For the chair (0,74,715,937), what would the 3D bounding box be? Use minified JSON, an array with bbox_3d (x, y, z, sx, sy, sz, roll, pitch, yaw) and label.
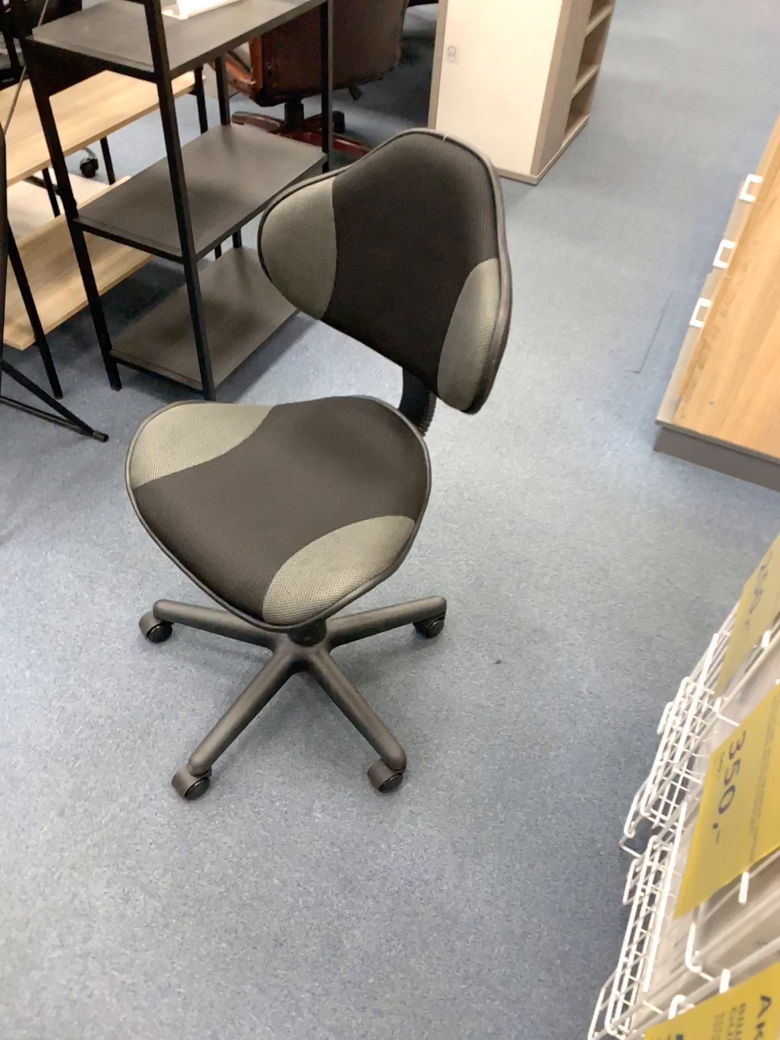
[{"bbox_3d":[-0.123,-0.009,1.198,0.631,0.916,0.691,37,55,26],"label":"chair"}]
